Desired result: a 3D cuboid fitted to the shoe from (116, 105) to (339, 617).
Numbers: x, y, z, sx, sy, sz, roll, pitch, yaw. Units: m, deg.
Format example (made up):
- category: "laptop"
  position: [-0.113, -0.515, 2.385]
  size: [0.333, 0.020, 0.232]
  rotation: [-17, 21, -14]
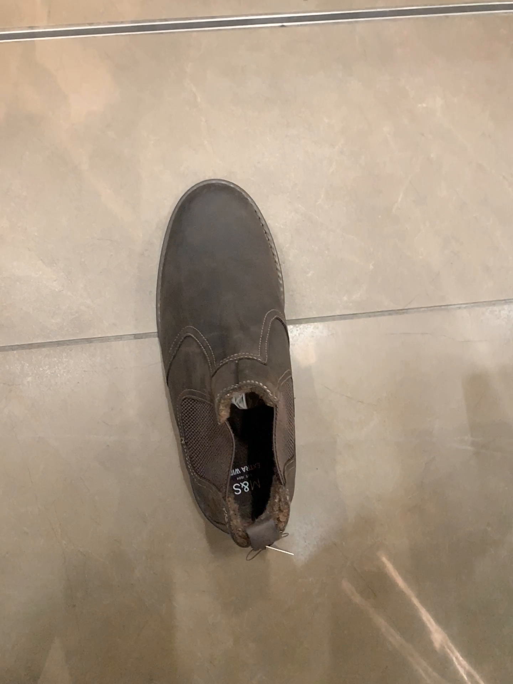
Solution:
- category: "shoe"
  position: [-0.024, 0.011, 0.401]
  size: [0.114, 0.166, 0.304]
  rotation: [-4, 83, -3]
